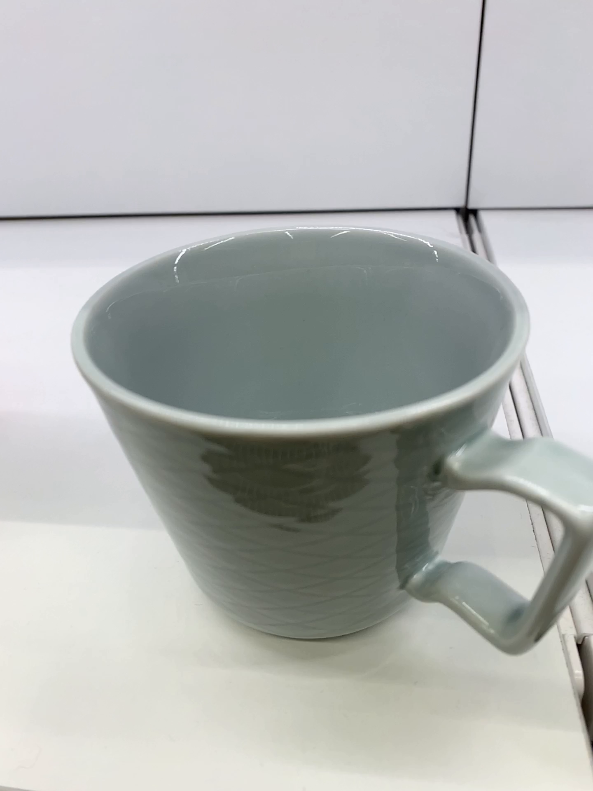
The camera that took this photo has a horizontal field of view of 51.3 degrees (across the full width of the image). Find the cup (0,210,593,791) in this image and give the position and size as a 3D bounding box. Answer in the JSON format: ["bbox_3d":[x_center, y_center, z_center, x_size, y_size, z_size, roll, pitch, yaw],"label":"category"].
[{"bbox_3d":[0.010,0.018,0.164,0.124,0.088,0.109,25,41,37],"label":"cup"}]
